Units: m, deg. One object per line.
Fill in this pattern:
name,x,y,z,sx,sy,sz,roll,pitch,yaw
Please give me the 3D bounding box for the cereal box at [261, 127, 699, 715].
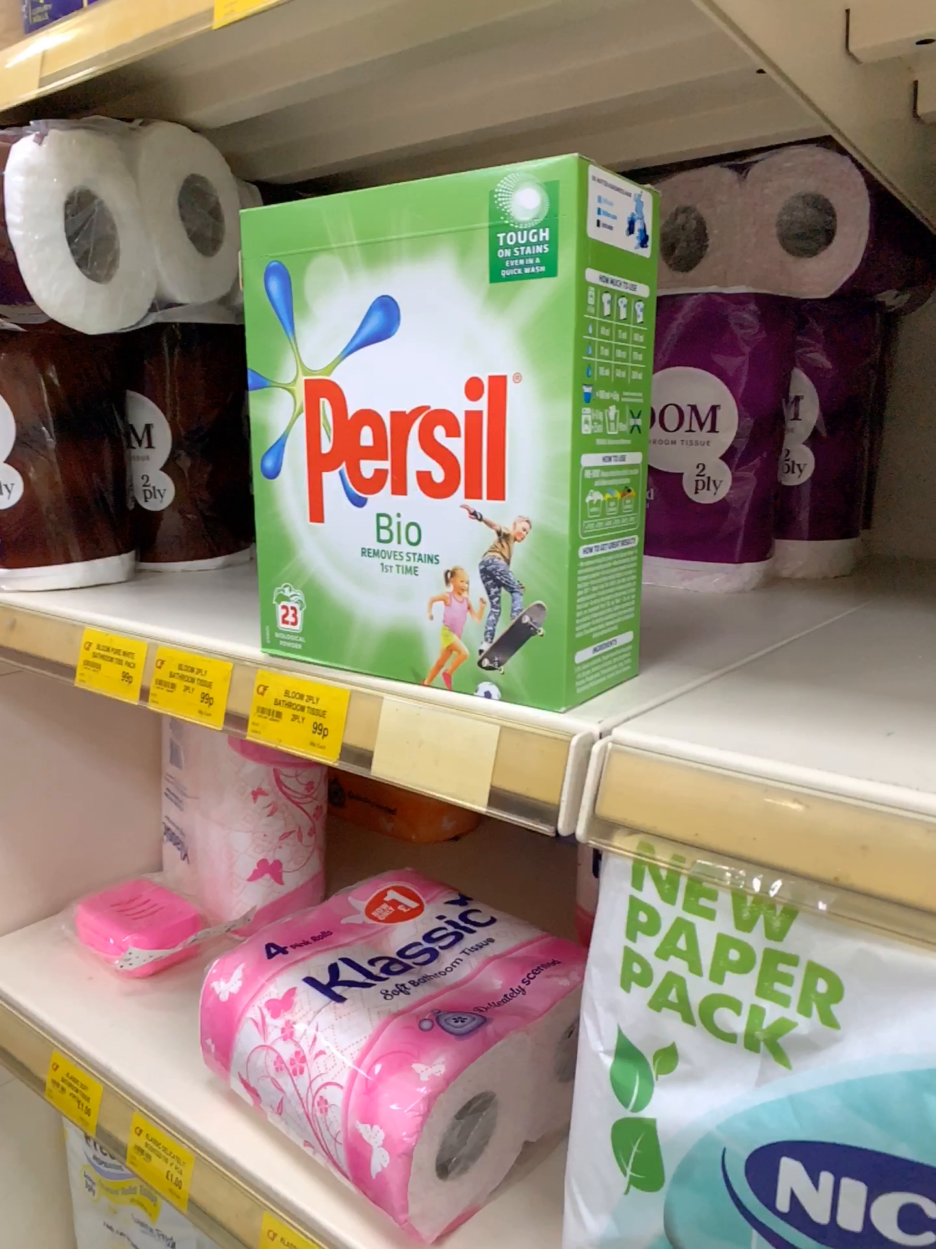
cereal box,0.002,-0.097,0.493,0.200,0.239,0.090,7,13,35
